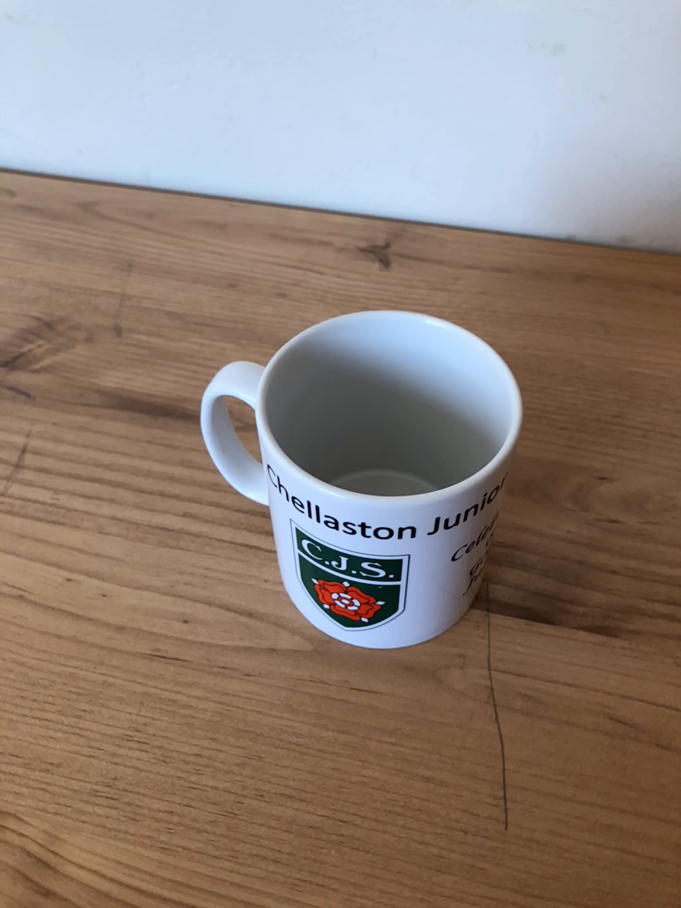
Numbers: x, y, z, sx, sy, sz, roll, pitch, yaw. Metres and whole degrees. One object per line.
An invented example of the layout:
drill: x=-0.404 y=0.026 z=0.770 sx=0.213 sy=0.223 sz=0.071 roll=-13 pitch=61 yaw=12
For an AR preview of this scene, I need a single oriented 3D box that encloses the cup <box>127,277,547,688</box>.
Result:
cup: x=0.005 y=0.008 z=0.275 sx=0.110 sy=0.095 sz=0.084 roll=13 pitch=50 yaw=17
